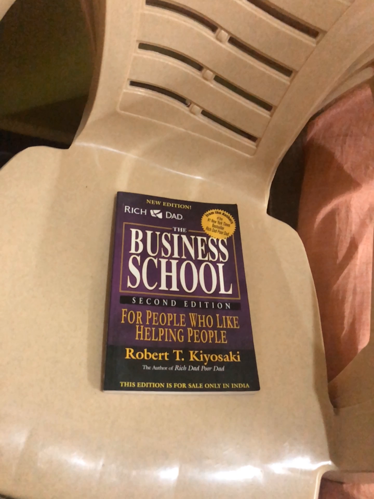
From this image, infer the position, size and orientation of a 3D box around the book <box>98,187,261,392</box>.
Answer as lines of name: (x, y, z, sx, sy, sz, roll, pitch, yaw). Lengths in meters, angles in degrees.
book: (-0.008, 0.042, 0.476, 0.170, 0.020, 0.230, 5, 66, -14)
